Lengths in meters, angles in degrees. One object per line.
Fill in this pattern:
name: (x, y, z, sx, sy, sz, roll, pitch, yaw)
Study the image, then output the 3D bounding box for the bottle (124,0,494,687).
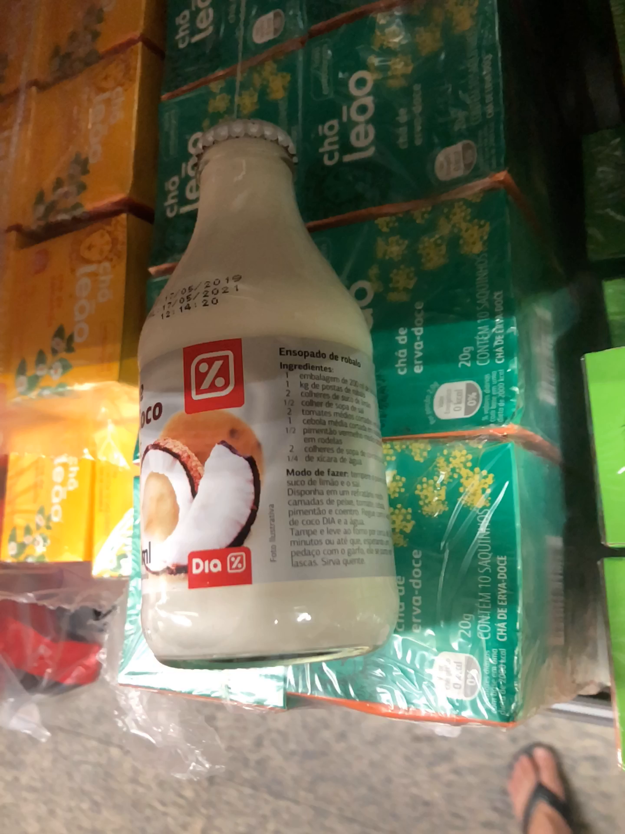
bottle: (-0.003, -0.020, 0.182, 0.070, 0.050, 0.160, -10, 74, 29)
